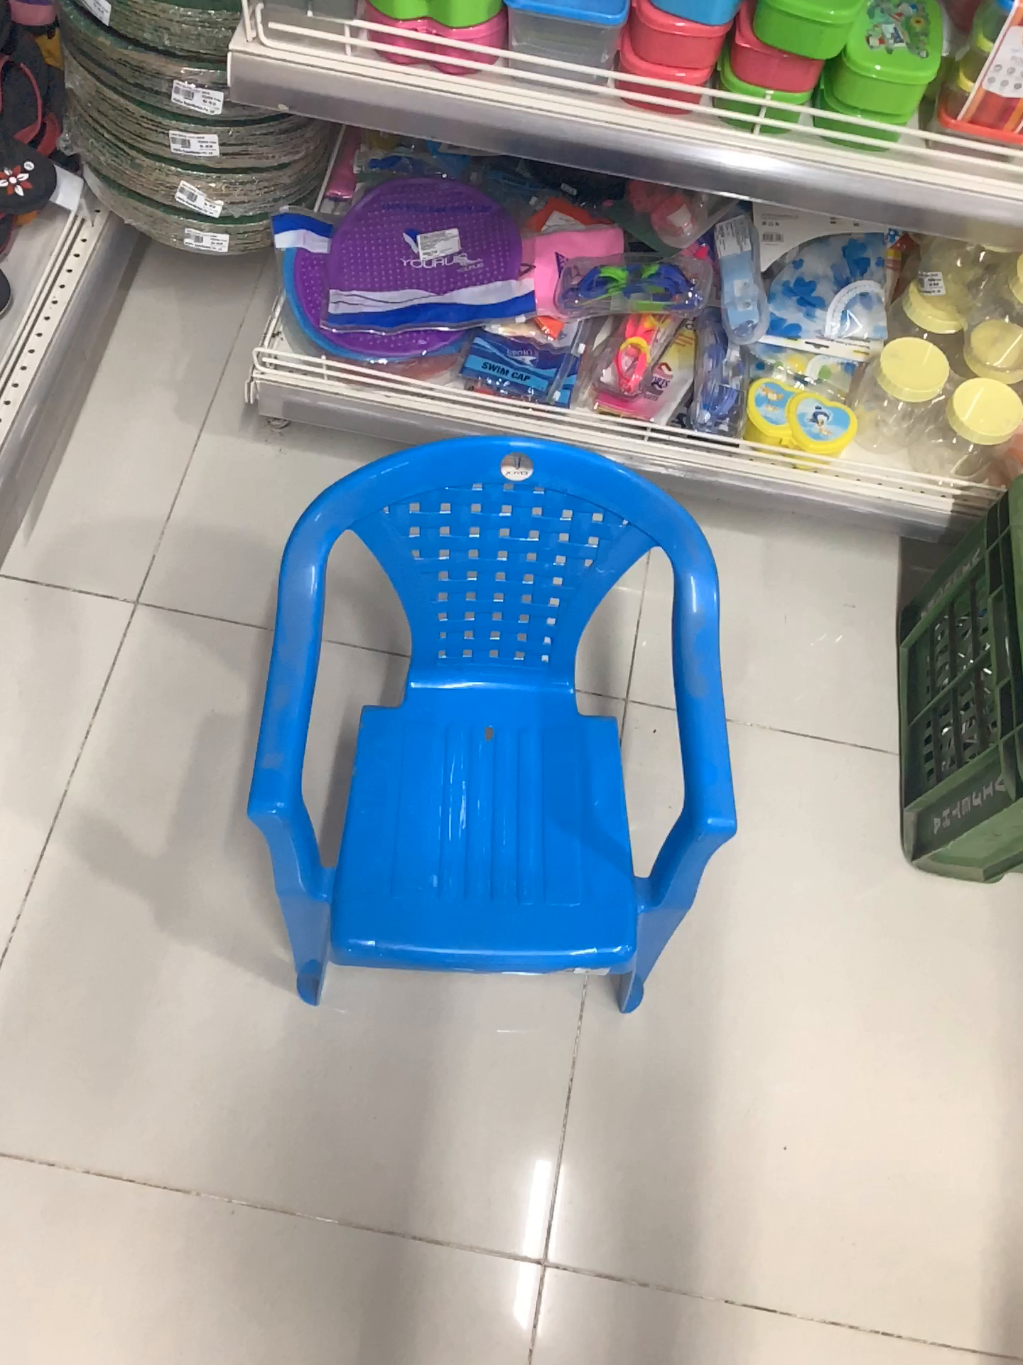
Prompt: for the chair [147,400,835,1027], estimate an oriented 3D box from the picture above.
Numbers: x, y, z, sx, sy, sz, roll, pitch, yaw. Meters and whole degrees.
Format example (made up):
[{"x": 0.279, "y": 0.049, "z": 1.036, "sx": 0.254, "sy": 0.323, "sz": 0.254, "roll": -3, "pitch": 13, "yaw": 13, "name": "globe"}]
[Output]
[{"x": -0.020, "y": 0.078, "z": 0.911, "sx": 0.400, "sy": 0.510, "sz": 0.360, "roll": 4, "pitch": 66, "yaw": -3, "name": "chair"}]
